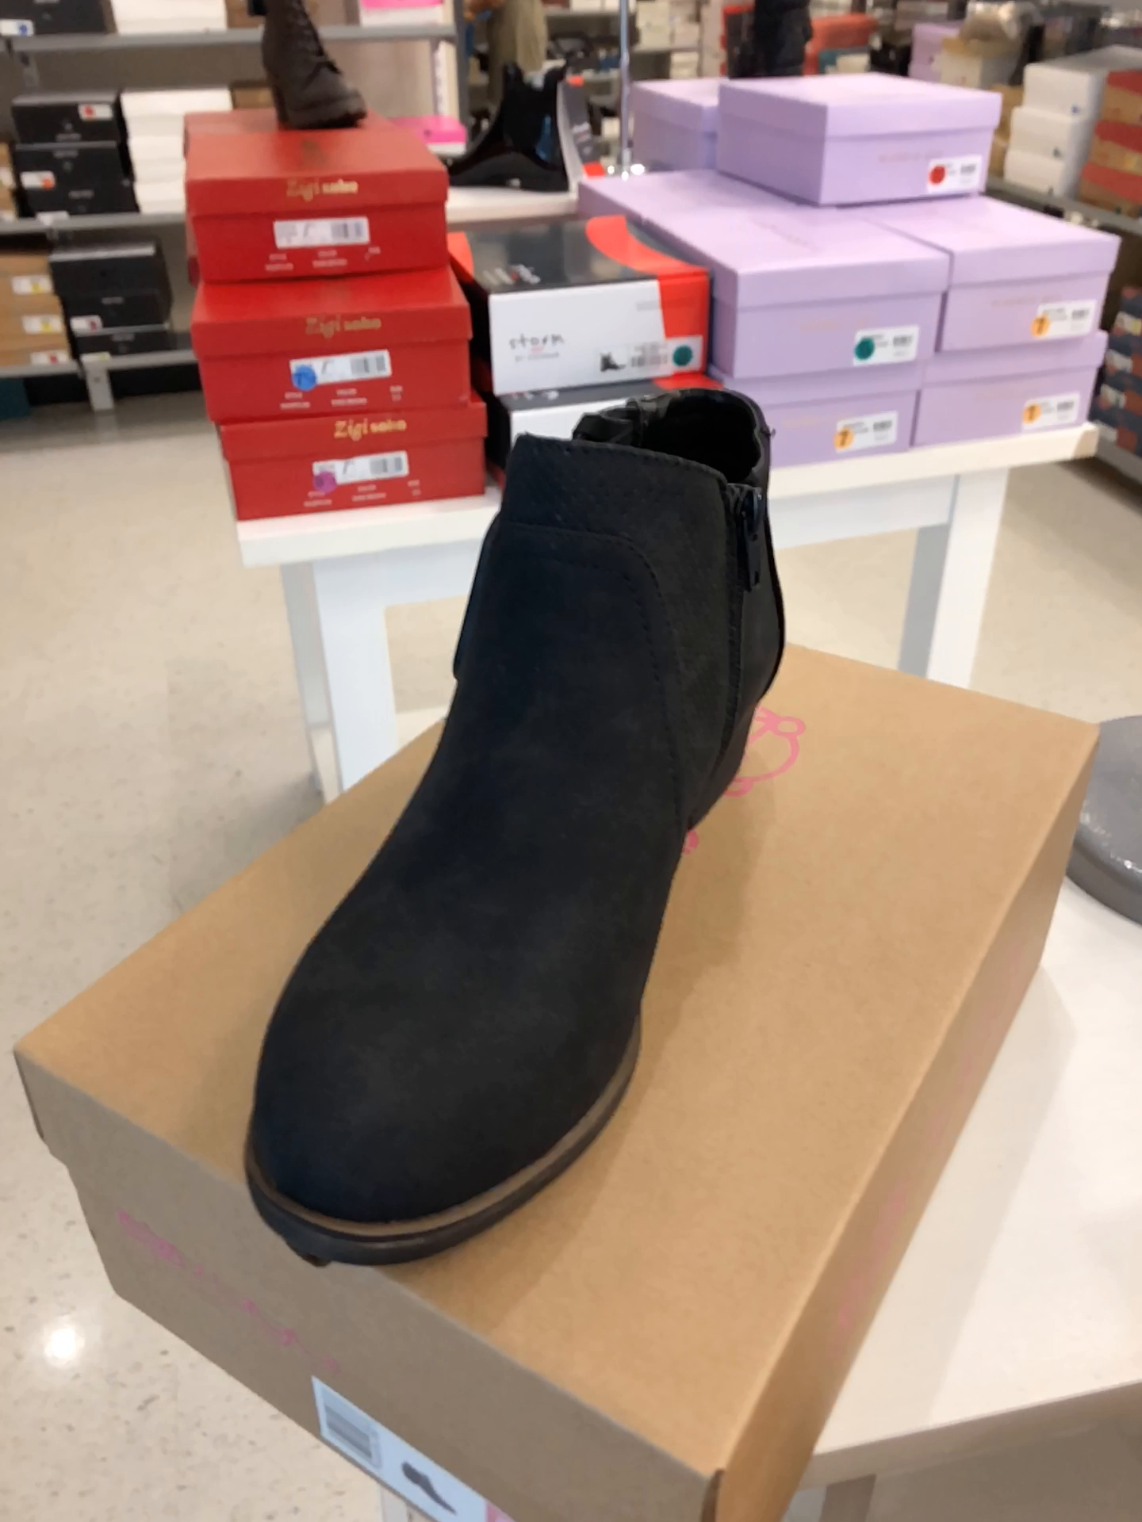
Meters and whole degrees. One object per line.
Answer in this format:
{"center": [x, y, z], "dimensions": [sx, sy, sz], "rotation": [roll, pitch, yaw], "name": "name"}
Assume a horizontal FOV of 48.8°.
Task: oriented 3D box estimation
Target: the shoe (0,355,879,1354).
{"center": [-0.007, -0.008, 0.338], "dimensions": [0.100, 0.119, 0.262], "rotation": [14, 37, 21], "name": "shoe"}
